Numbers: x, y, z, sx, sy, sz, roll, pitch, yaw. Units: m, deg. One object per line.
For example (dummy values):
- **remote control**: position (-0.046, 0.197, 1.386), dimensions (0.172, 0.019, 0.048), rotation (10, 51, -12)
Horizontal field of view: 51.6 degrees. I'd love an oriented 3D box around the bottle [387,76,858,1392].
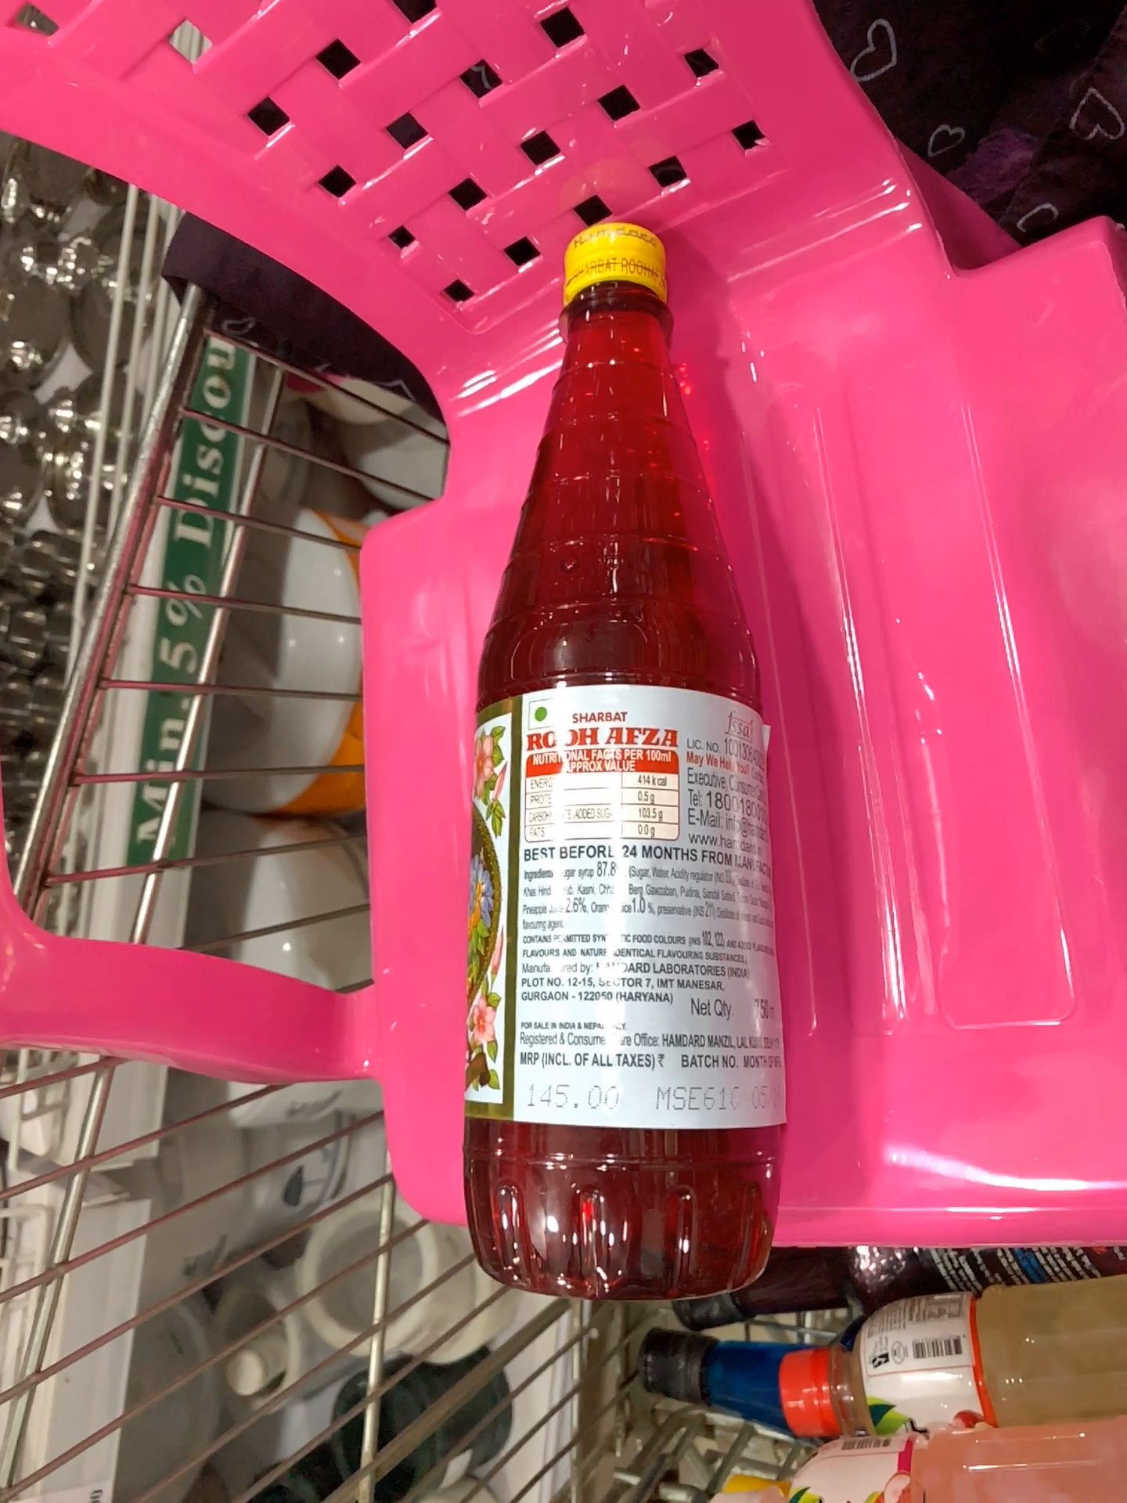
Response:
- **bottle**: position (0.013, -0.007, 0.268), dimensions (0.080, 0.060, 0.260), rotation (-6, 81, 18)
